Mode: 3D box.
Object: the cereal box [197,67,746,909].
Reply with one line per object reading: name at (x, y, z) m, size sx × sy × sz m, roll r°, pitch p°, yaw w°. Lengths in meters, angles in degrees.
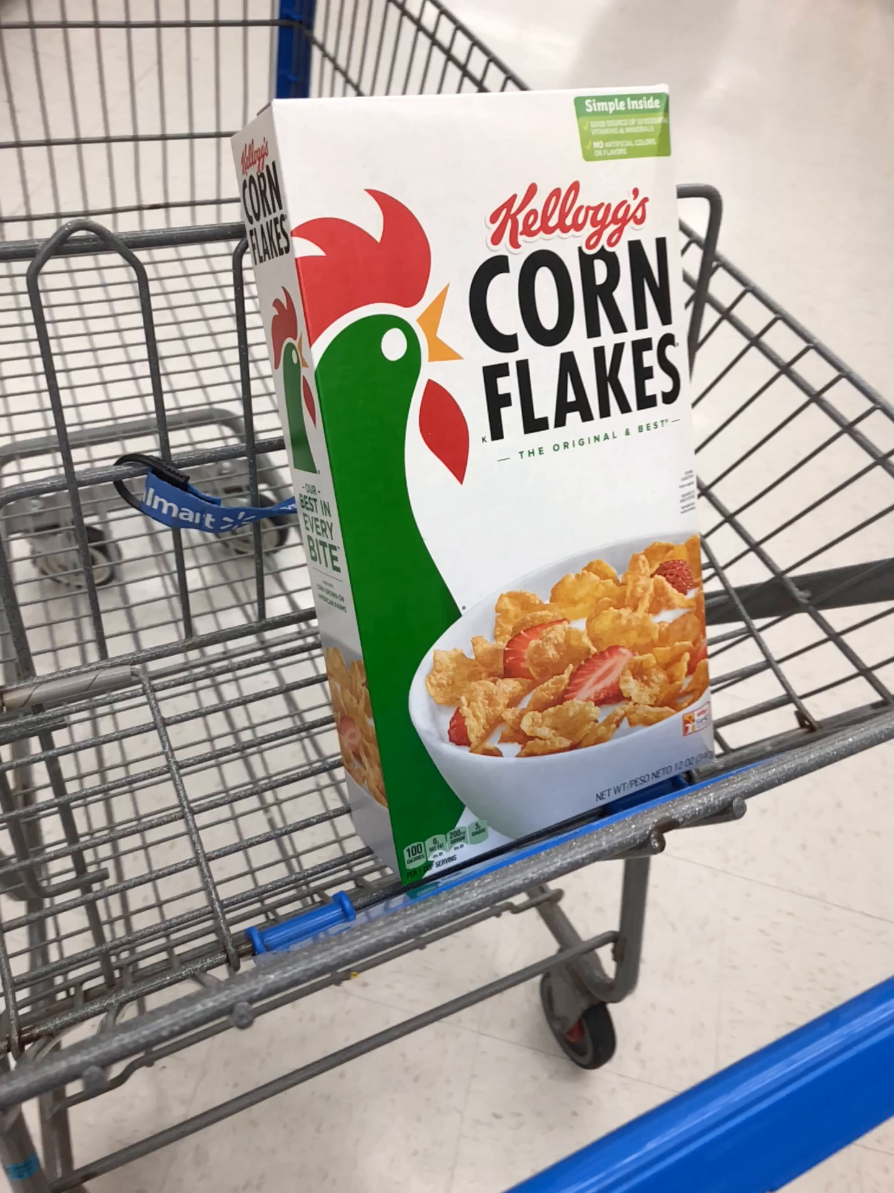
cereal box at (0.028, -0.053, 0.472) m, size 0.210 × 0.340 × 0.070 m, roll -16°, pitch 17°, yaw -24°
